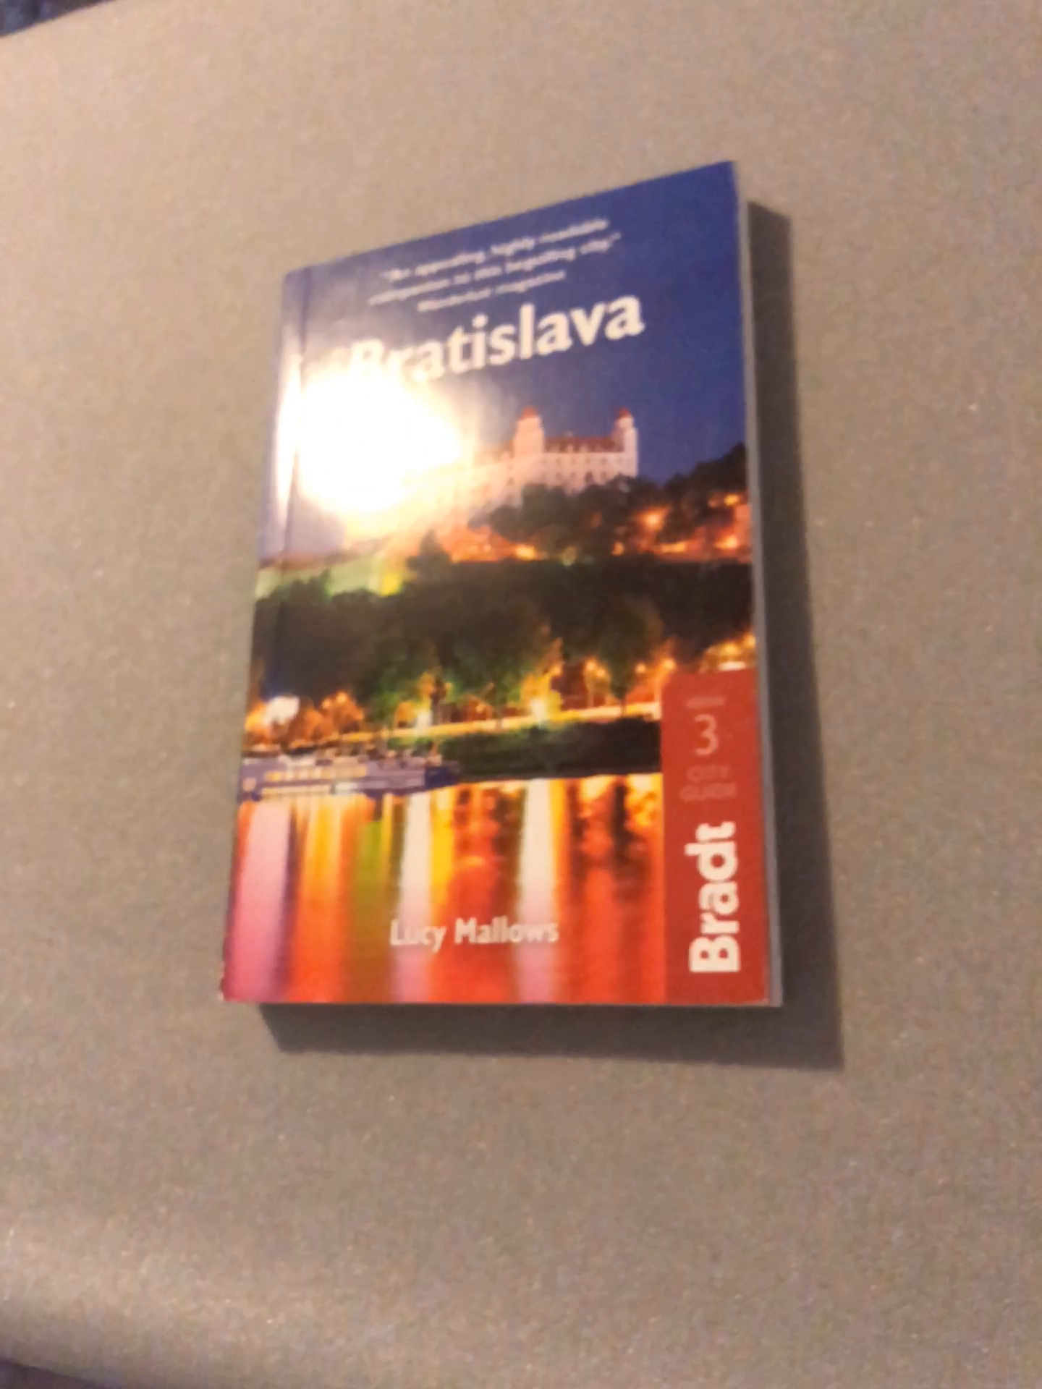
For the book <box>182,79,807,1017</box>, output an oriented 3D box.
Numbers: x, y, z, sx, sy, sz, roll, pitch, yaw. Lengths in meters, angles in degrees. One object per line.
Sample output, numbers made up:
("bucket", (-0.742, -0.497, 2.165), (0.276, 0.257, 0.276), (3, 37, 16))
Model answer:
("book", (-0.008, -0.033, 0.283), (0.140, 0.020, 0.210), (-6, 72, 24))
